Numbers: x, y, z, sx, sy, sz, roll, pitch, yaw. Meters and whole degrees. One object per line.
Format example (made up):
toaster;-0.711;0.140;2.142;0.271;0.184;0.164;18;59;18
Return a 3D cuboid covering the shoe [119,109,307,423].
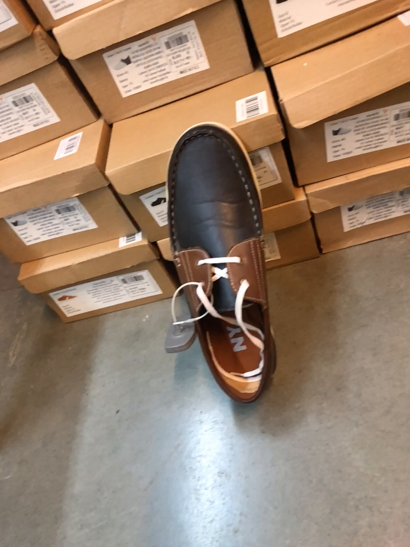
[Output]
shoe;0.020;-0.005;0.432;0.102;0.264;0.099;-10;14;17
